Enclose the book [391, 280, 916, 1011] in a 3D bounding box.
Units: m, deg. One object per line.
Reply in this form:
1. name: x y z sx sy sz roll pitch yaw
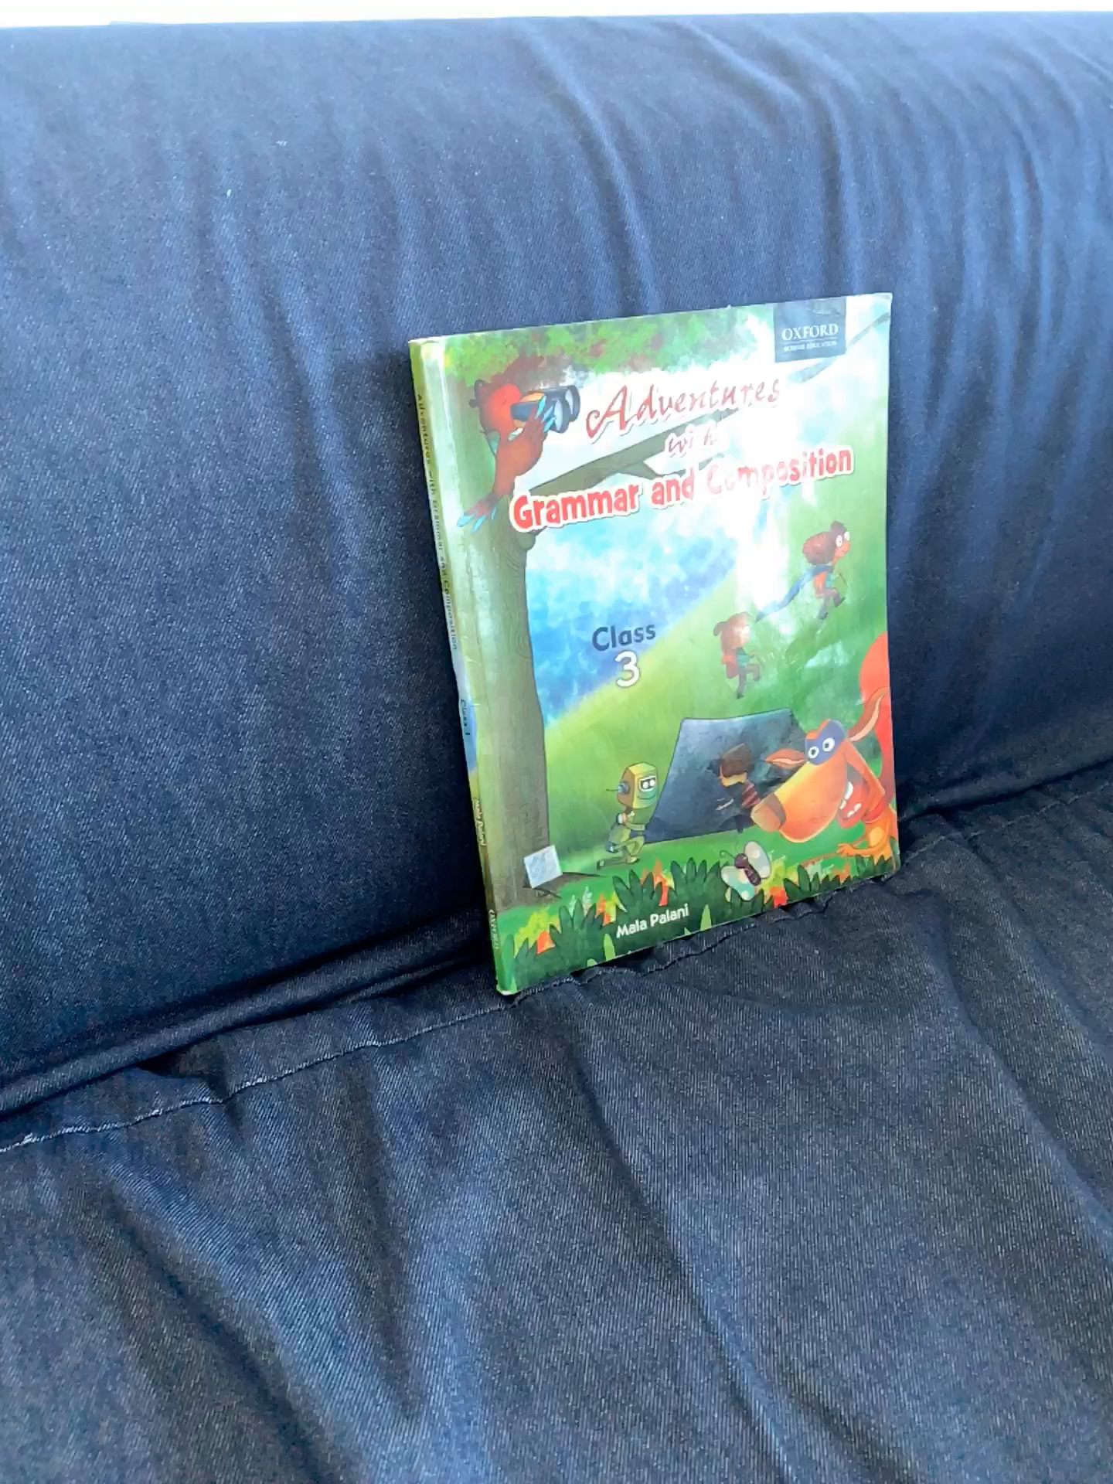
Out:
1. book: 0.056 -0.041 0.481 0.212 0.269 0.030 -13 20 -20
